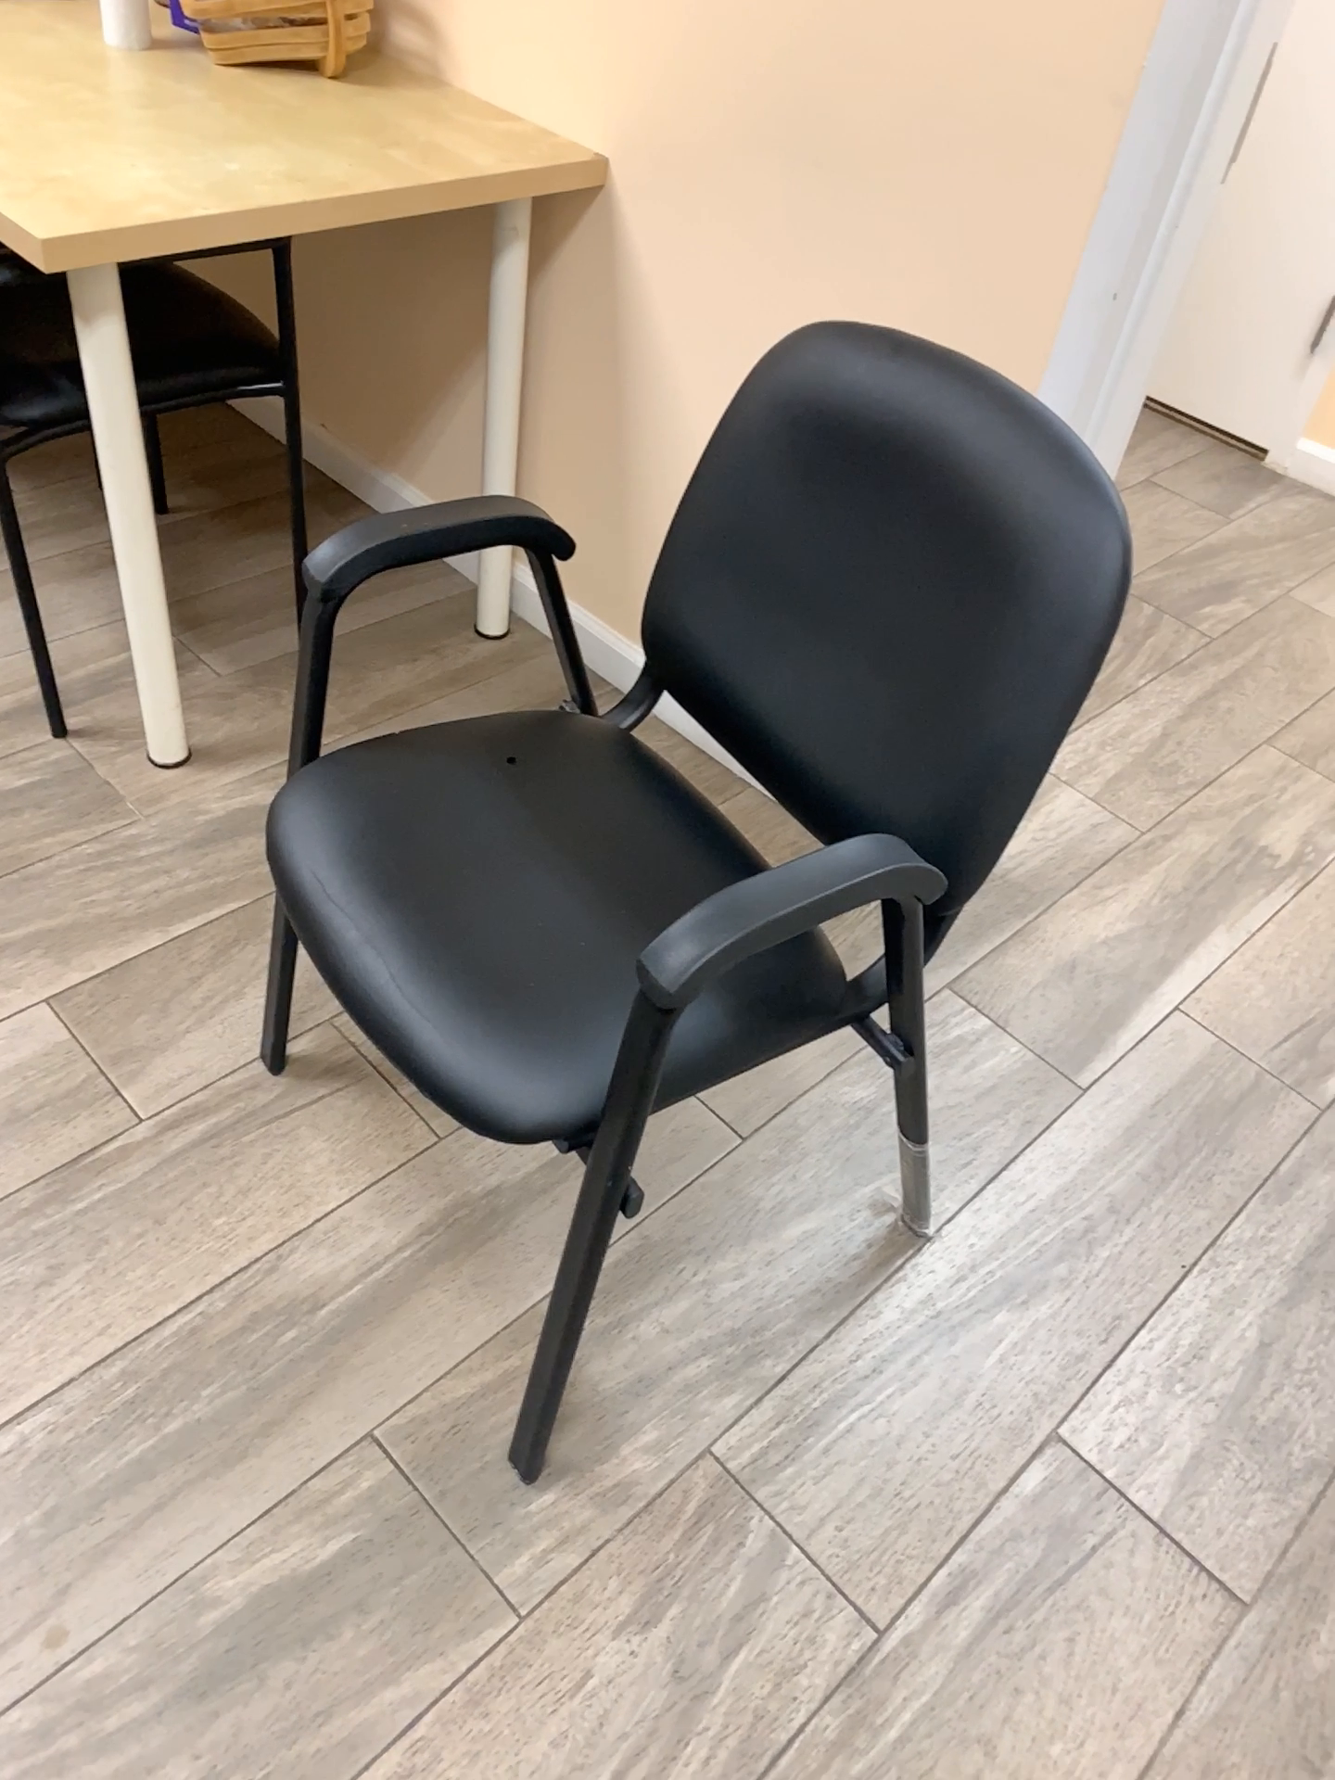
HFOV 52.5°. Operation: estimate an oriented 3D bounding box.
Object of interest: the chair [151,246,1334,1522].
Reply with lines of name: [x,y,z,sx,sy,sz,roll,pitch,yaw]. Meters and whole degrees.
chair: [-0.005,-0.024,1.223,0.607,0.817,0.607,-21,51,-29]
